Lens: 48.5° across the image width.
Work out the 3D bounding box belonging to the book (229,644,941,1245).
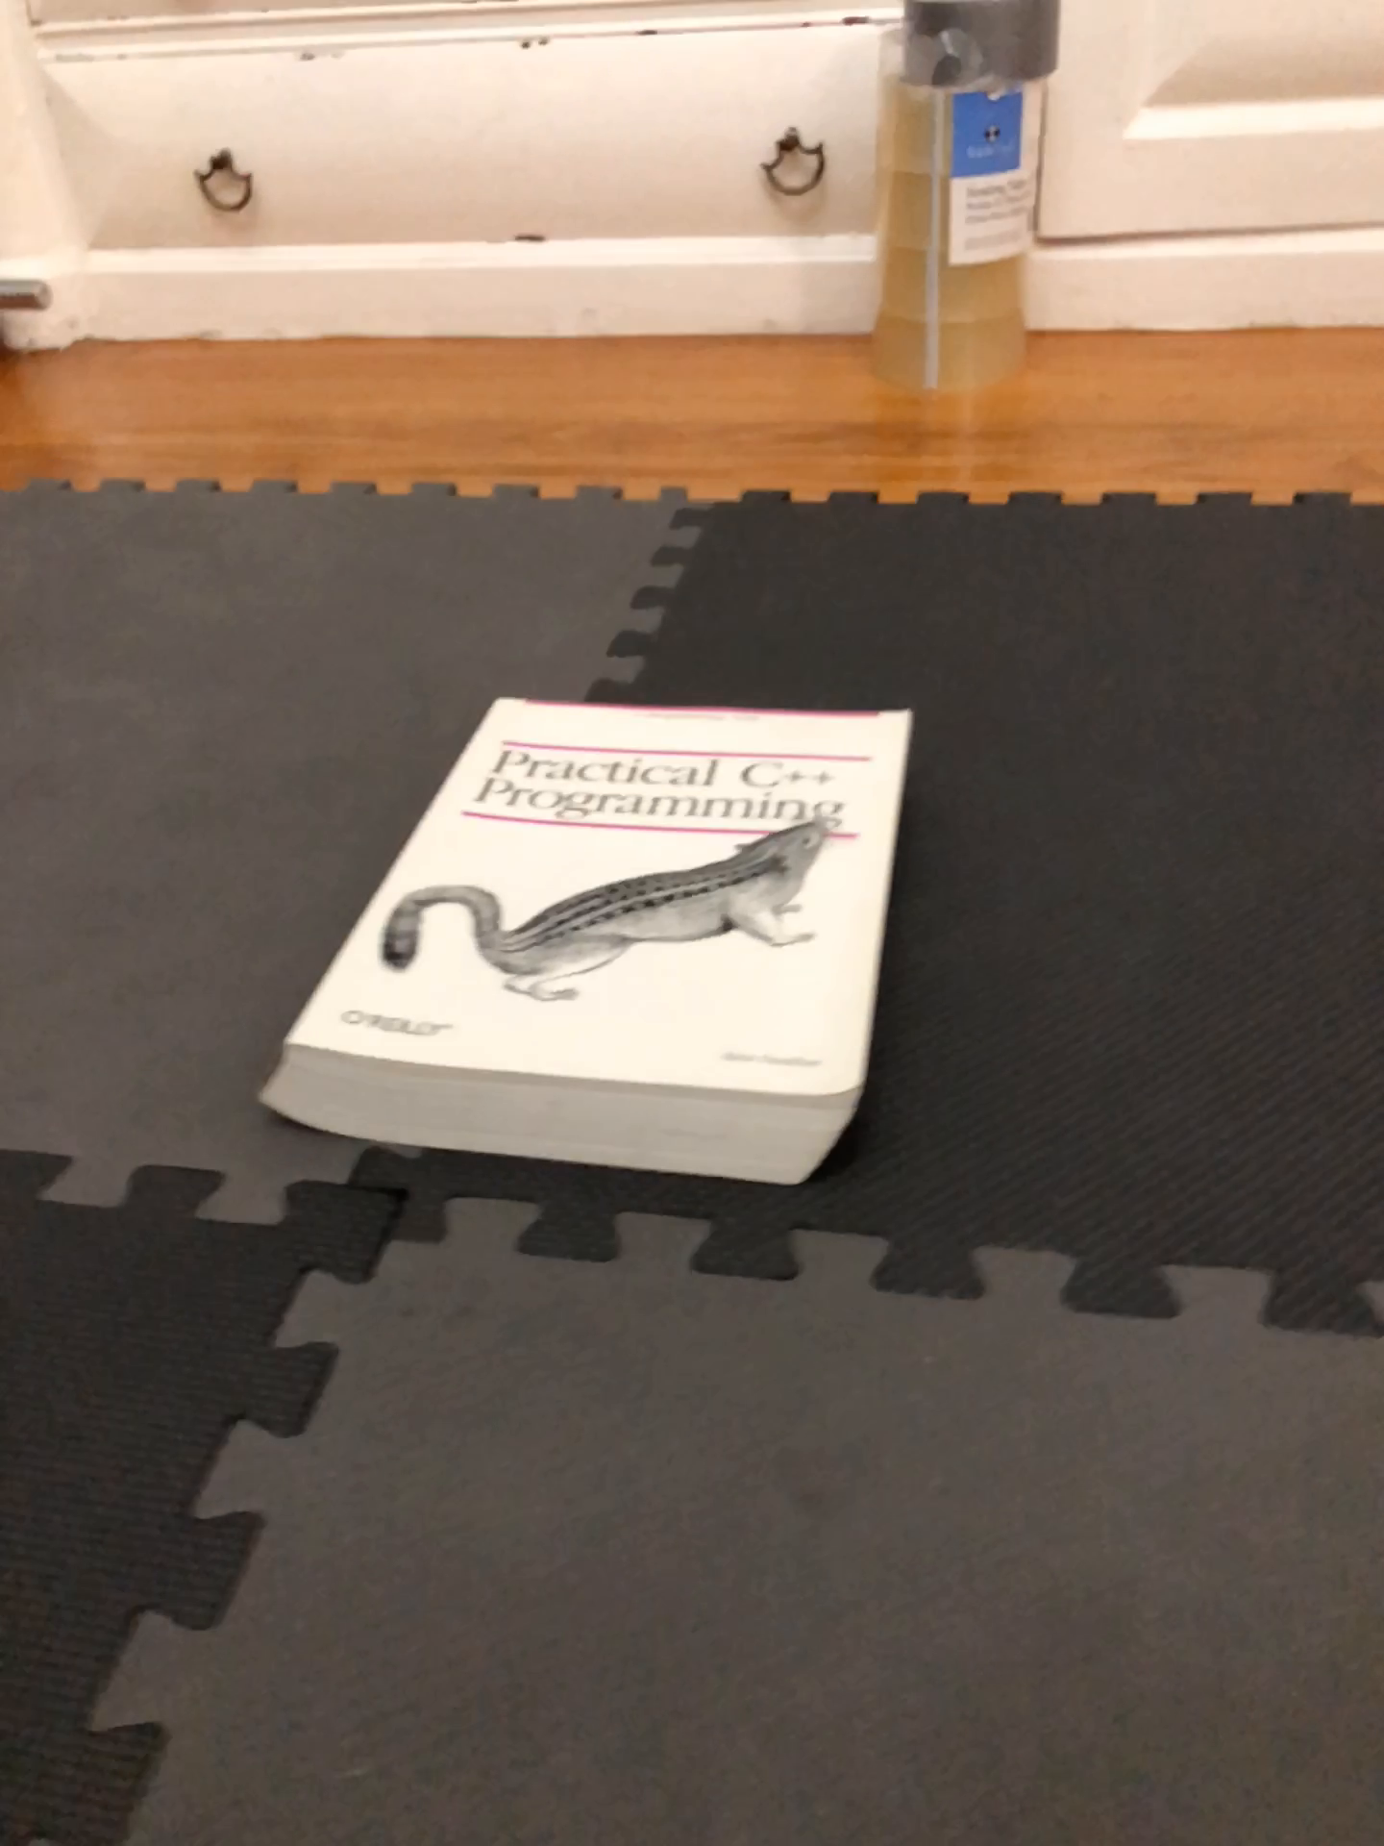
[{"bbox_3d":[-0.019,-0.011,0.564,0.200,0.050,0.252,8,38,7],"label":"book"}]
